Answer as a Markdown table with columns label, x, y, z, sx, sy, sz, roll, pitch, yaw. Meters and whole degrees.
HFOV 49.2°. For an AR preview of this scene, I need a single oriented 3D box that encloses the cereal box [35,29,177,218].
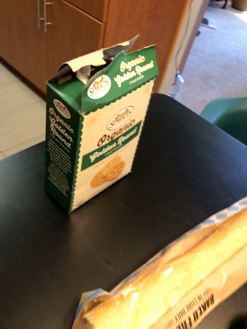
| label | x | y | z | sx | sy | sz | roll | pitch | yaw |
| --- | --- | --- | --- | --- | --- | --- | --- | --- | --- |
| cereal box | -0.036 | -0.057 | 0.423 | 0.080 | 0.248 | 0.171 | 39 | 50 | 21 |
